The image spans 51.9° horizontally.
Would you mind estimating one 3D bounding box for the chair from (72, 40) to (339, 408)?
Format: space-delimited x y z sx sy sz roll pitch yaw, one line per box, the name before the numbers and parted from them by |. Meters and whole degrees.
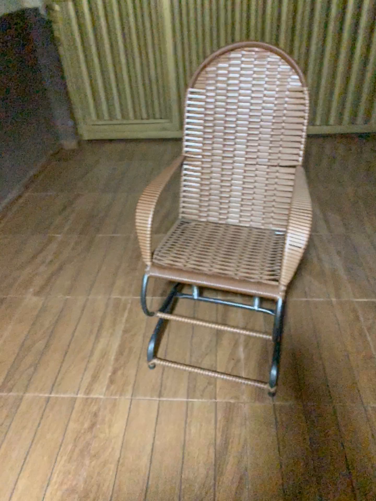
chair | 0.155 -0.126 1.449 0.598 1.050 0.787 8 39 16
